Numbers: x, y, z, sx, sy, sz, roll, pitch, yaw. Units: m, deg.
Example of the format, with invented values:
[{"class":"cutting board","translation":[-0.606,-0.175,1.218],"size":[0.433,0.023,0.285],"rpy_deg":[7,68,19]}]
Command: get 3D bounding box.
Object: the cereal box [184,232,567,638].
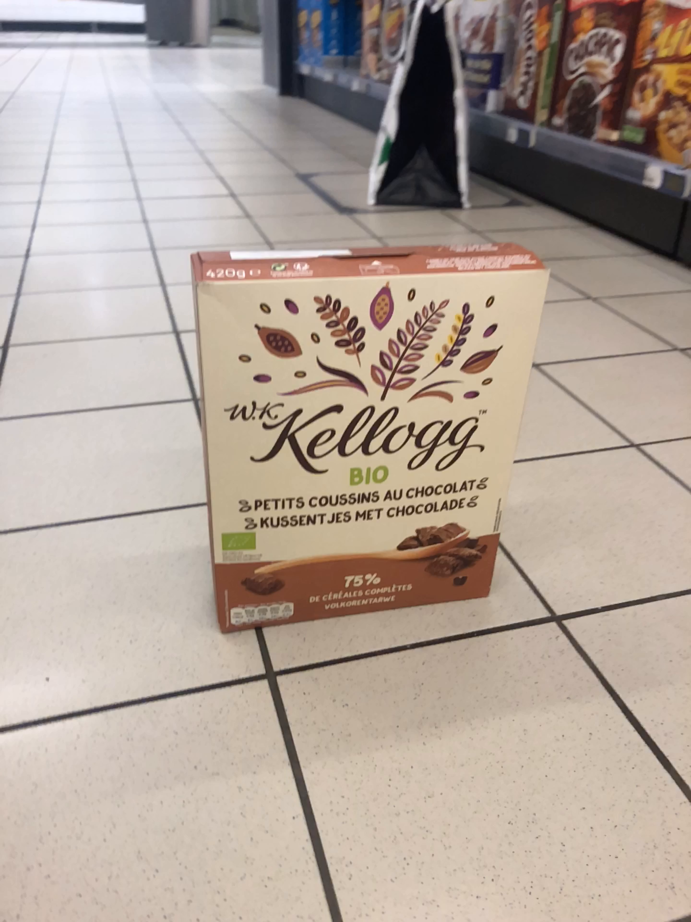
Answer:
[{"class":"cereal box","translation":[0.011,-0.009,0.477],"size":[0.200,0.248,0.050],"rpy_deg":[-5,33,-11]}]
